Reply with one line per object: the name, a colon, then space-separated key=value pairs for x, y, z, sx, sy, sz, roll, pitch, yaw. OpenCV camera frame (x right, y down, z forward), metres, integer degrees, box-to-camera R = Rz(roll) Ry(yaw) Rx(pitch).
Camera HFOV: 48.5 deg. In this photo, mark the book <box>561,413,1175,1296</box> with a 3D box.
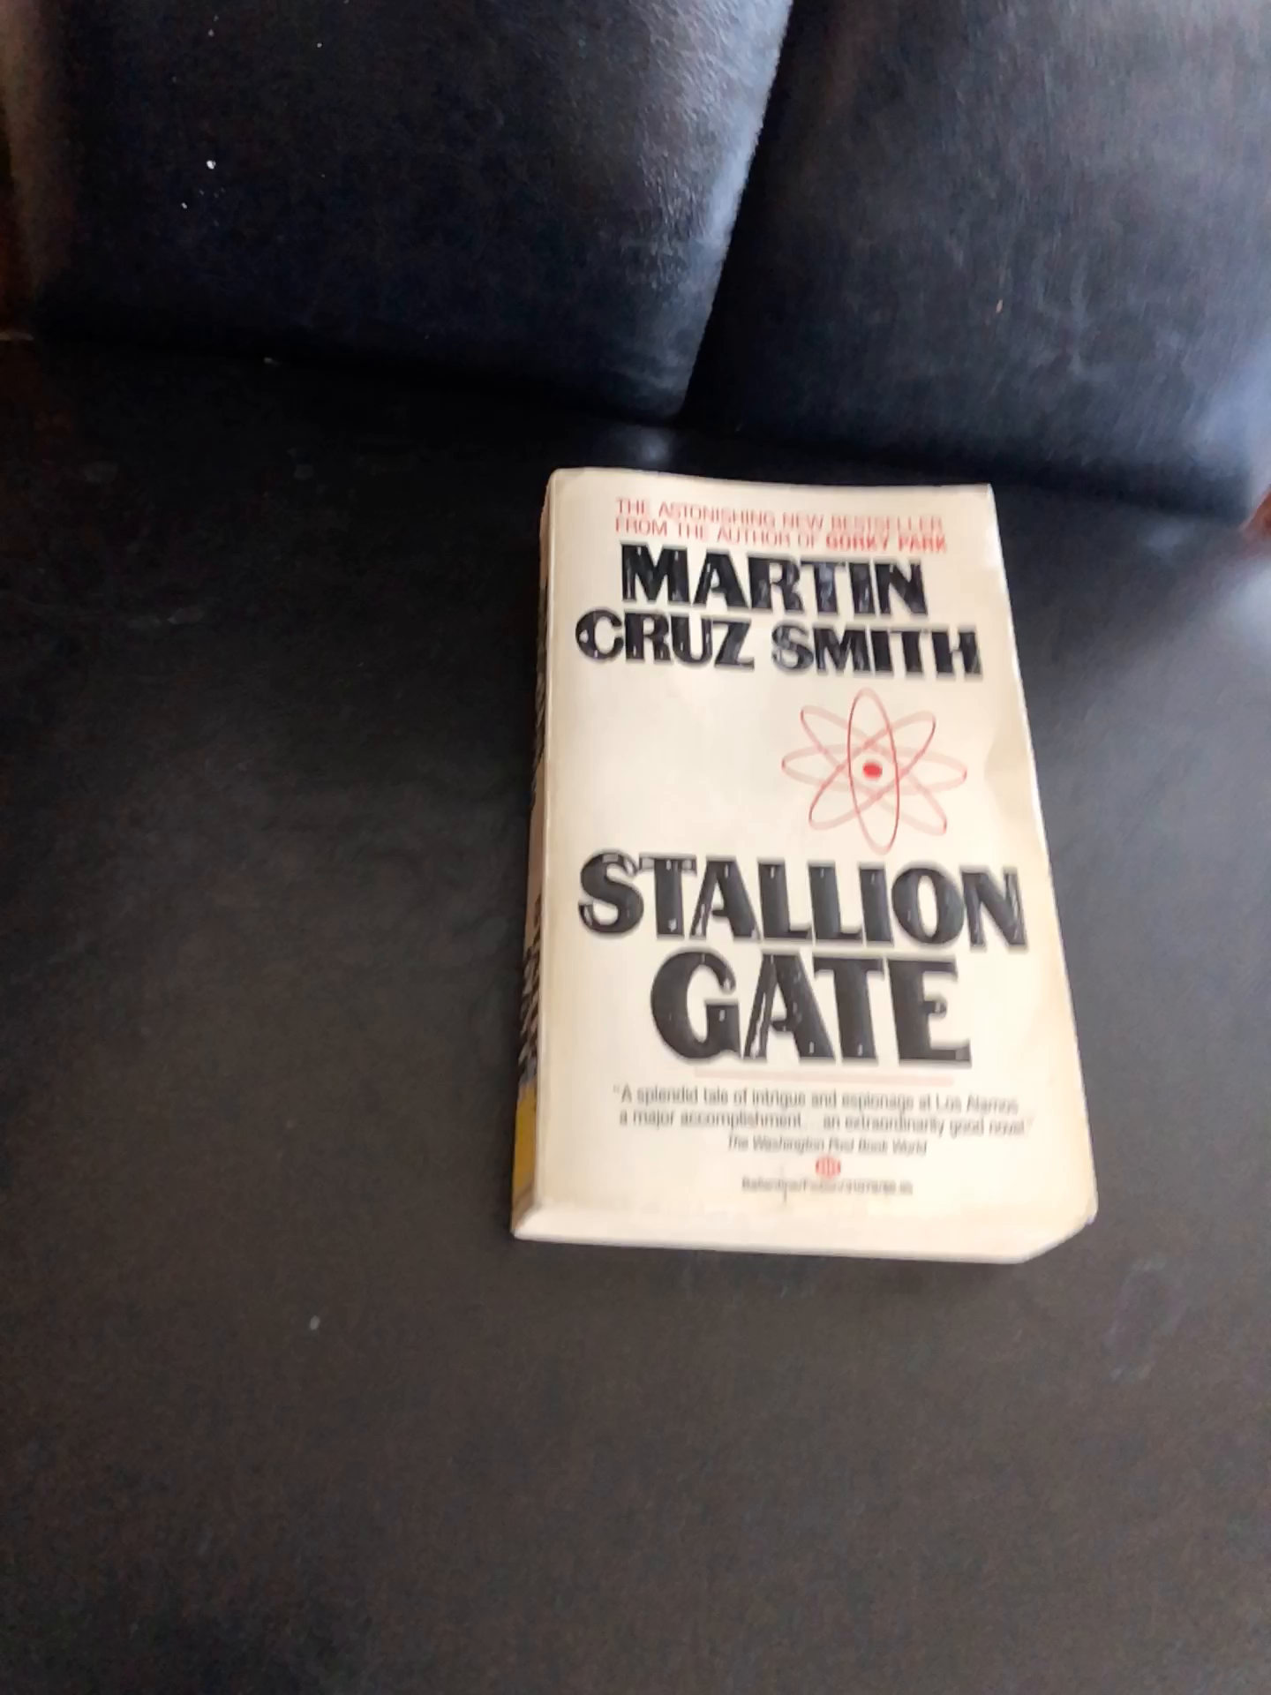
book: x=0.043 y=-0.005 z=0.309 sx=0.110 sy=0.030 sz=0.190 roll=6 pitch=62 yaw=-10
